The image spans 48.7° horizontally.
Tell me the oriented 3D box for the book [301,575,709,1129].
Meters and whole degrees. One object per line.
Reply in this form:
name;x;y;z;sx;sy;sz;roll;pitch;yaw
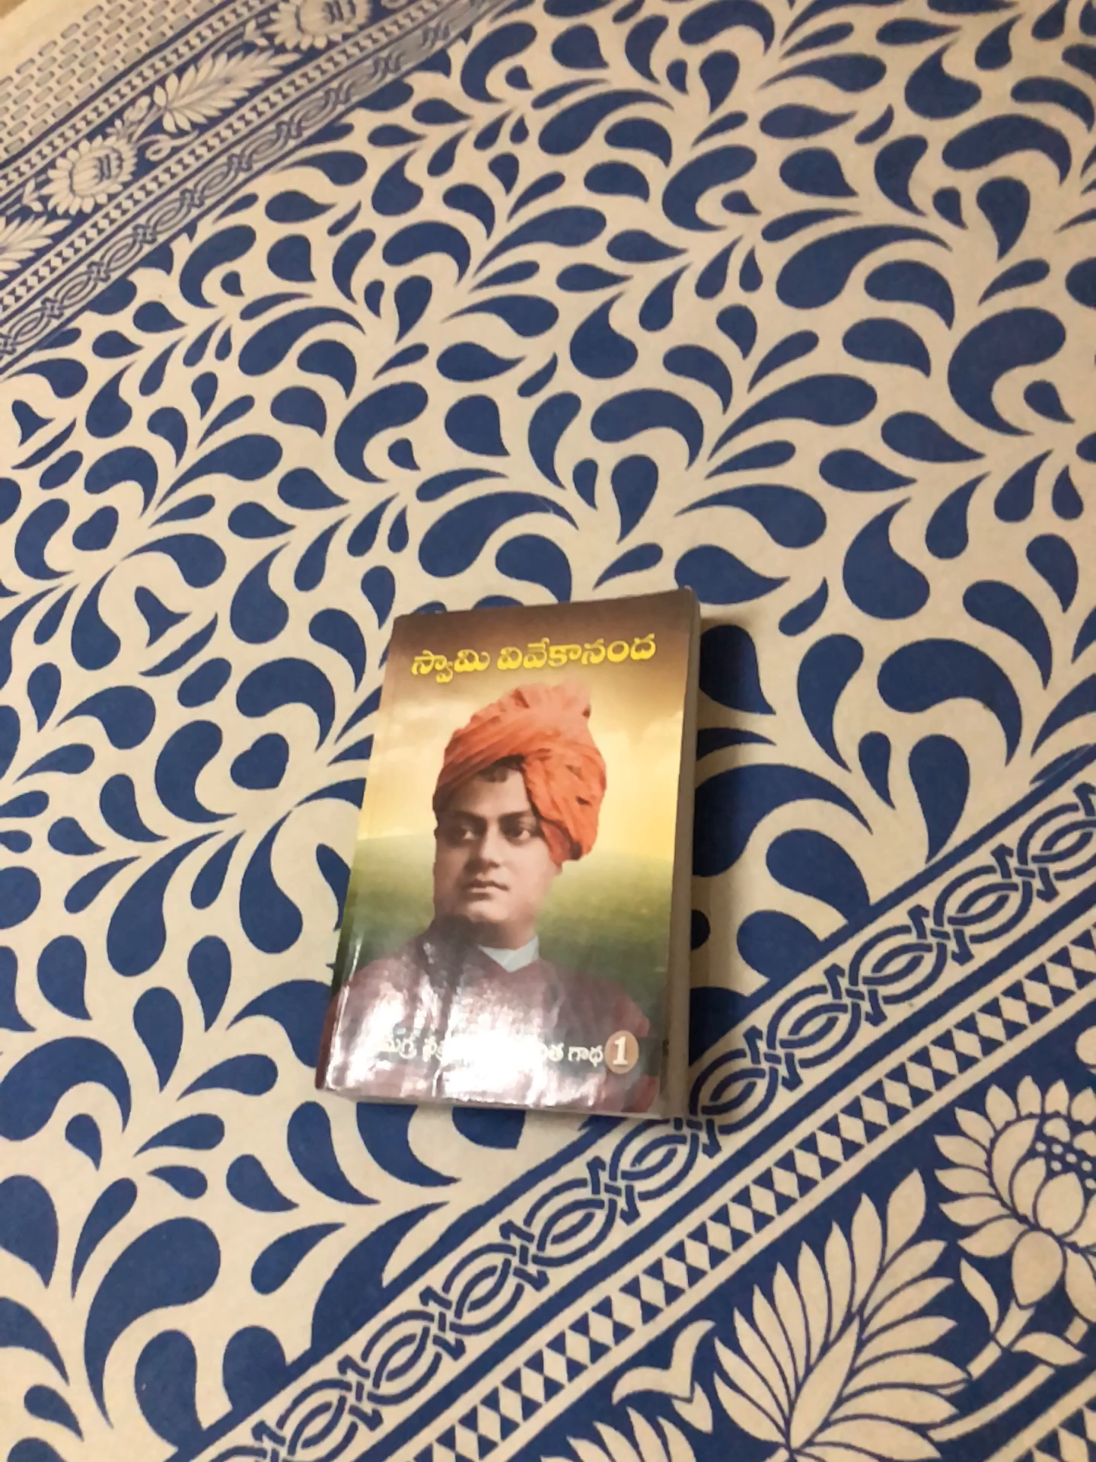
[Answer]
book;-0.012;0.042;0.482;0.140;0.030;0.210;-2;67;18
